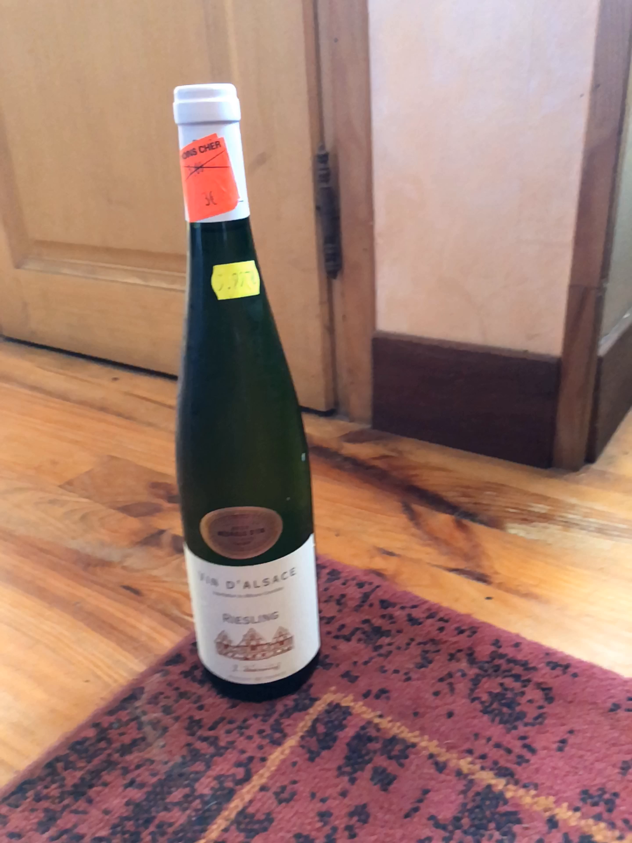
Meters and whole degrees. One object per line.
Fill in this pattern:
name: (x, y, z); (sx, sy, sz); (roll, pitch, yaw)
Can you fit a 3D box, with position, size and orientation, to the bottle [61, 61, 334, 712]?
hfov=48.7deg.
bottle: (-0.042, -0.004, 0.340); (0.080, 0.298, 0.080); (-3, 25, 1)
